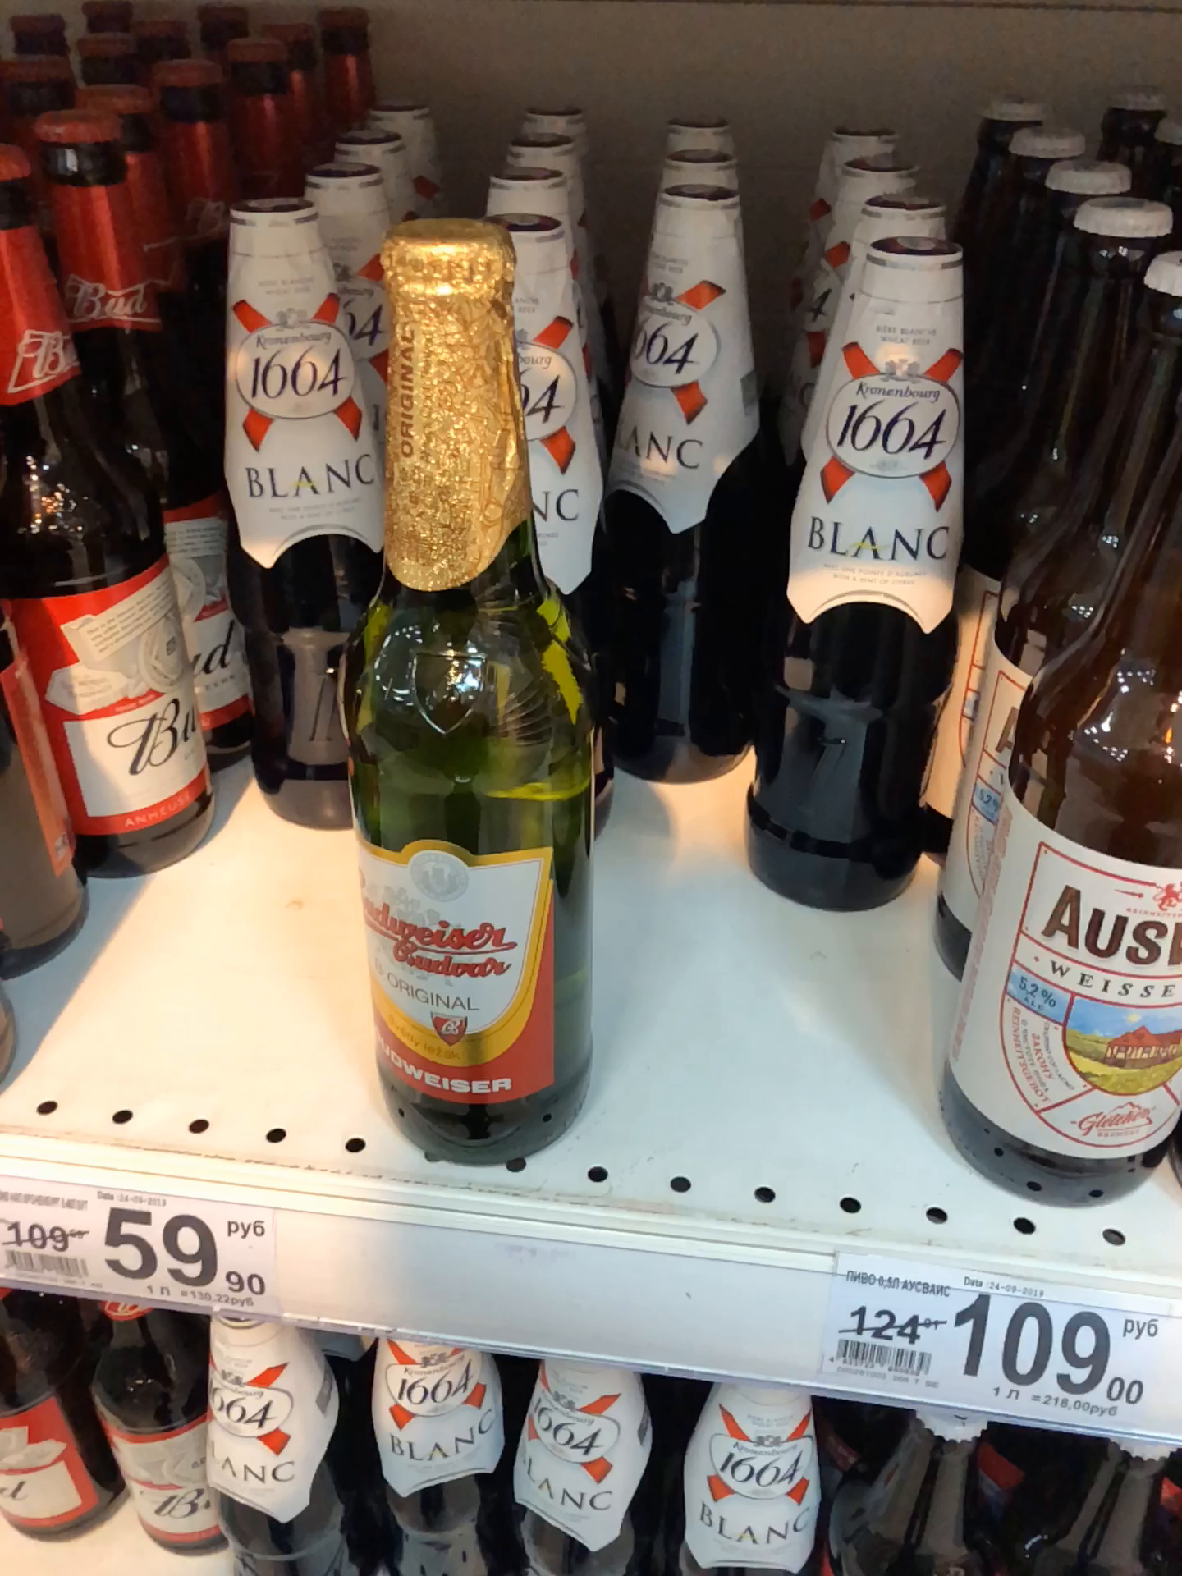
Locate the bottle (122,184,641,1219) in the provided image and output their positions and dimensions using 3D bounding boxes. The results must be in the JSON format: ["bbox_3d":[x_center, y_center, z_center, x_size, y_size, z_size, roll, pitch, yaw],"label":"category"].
[{"bbox_3d":[-0.040,-0.009,0.339,0.080,0.254,0.070,15,38,20],"label":"bottle"}]
